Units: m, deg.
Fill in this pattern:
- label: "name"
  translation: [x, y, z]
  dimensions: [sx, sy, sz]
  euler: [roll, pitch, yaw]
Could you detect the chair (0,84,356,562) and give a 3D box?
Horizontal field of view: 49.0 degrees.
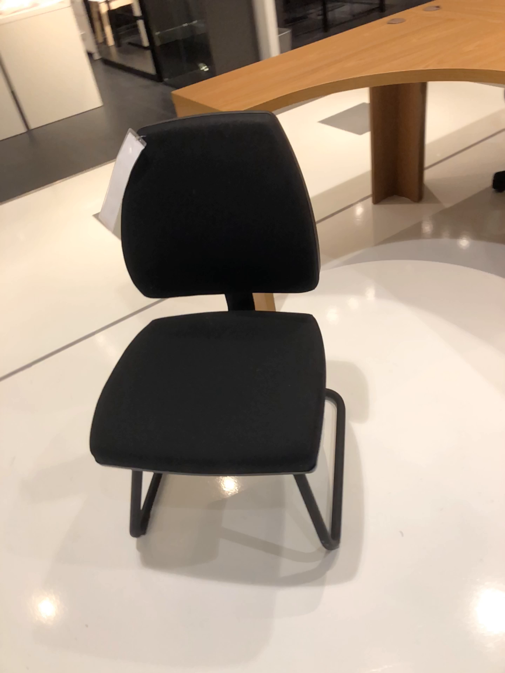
- label: "chair"
  translation: [-0.063, 0.004, 1.256]
  dimensions: [0.550, 0.873, 0.564]
  euler: [-2, 40, 12]
